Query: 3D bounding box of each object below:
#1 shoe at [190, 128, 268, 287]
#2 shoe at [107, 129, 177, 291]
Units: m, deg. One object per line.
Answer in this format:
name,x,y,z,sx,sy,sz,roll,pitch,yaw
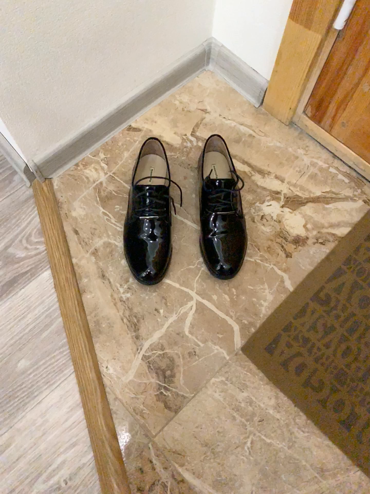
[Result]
shoe,0.063,-0.064,0.619,0.090,0.110,0.230,-2,67,-3
shoe,-0.061,-0.058,0.610,0.086,0.110,0.230,2,67,-1
